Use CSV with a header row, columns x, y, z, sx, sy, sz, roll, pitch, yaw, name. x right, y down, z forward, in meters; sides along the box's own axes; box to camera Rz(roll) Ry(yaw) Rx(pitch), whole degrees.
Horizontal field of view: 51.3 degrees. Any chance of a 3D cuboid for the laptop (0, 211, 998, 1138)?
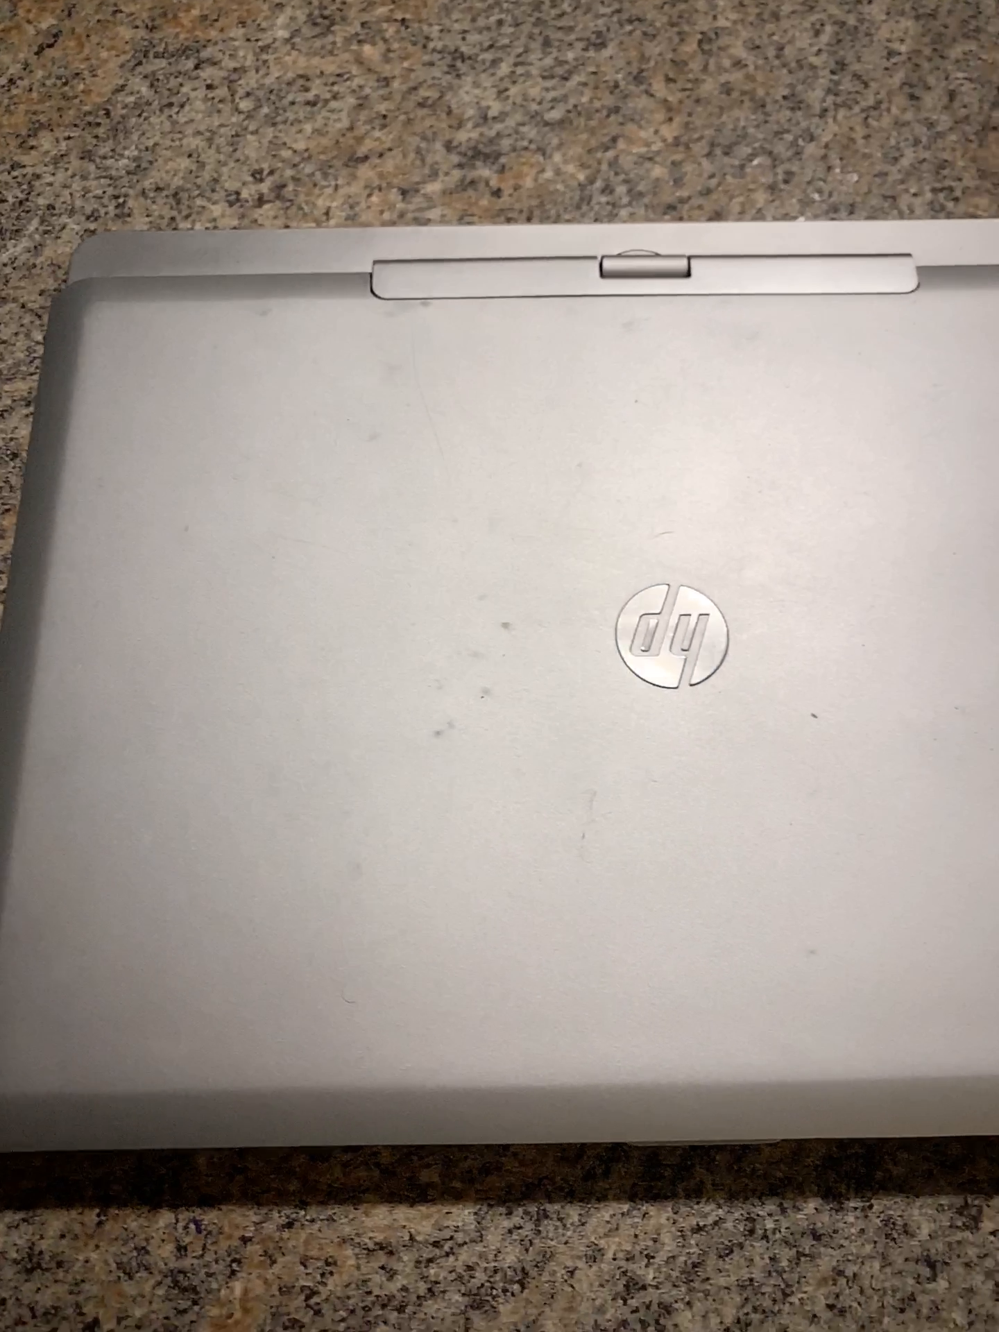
x,y,z,sx,sy,sz,roll,pitch,yaw,name
0.034,-0.012,0.210,0.267,0.005,0.194,-1,69,0,laptop
